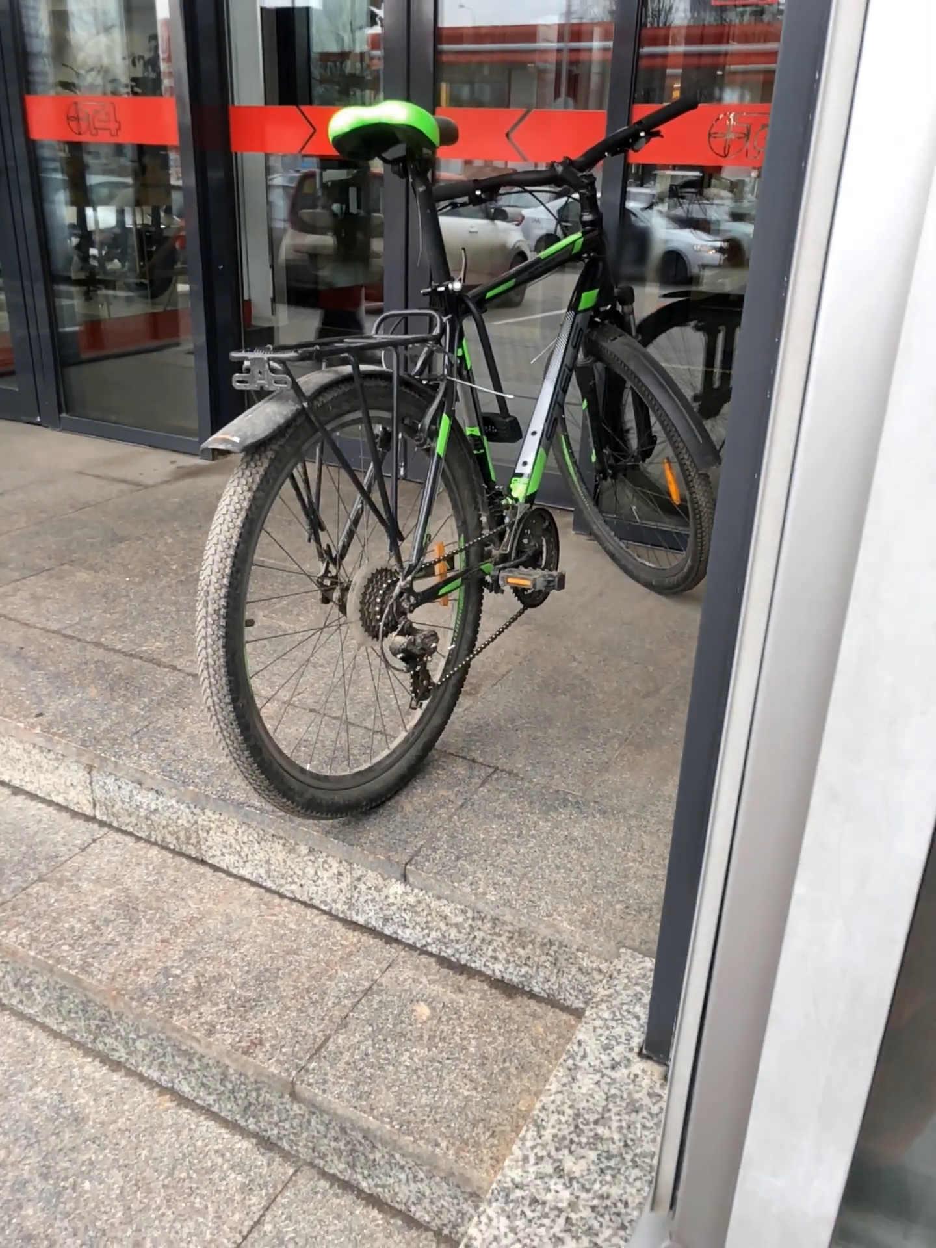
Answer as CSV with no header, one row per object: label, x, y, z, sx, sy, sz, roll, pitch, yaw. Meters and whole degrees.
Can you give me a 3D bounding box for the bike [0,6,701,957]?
bike,-0.049,-0.388,1.888,0.629,1.052,1.551,10,24,17
